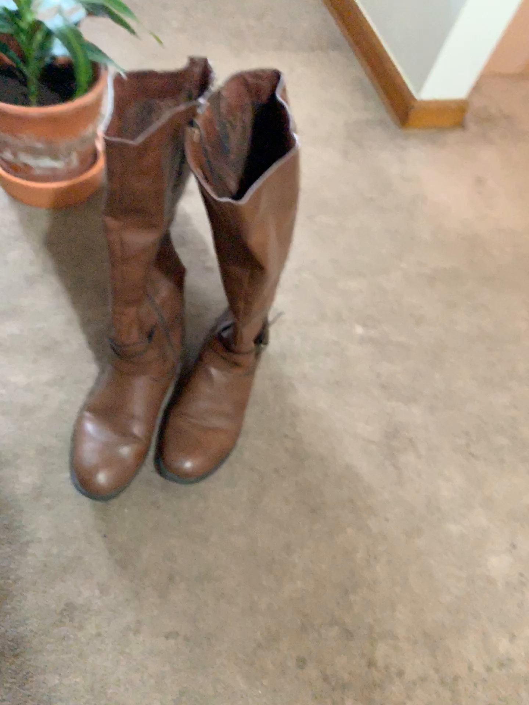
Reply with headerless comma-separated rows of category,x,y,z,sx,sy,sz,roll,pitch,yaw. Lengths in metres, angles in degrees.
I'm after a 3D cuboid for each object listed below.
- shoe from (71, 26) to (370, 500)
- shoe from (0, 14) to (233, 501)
shoe,-0.049,-0.052,0.562,0.120,0.397,0.272,23,57,2
shoe,-0.141,-0.052,0.517,0.110,0.367,0.262,17,58,-2
